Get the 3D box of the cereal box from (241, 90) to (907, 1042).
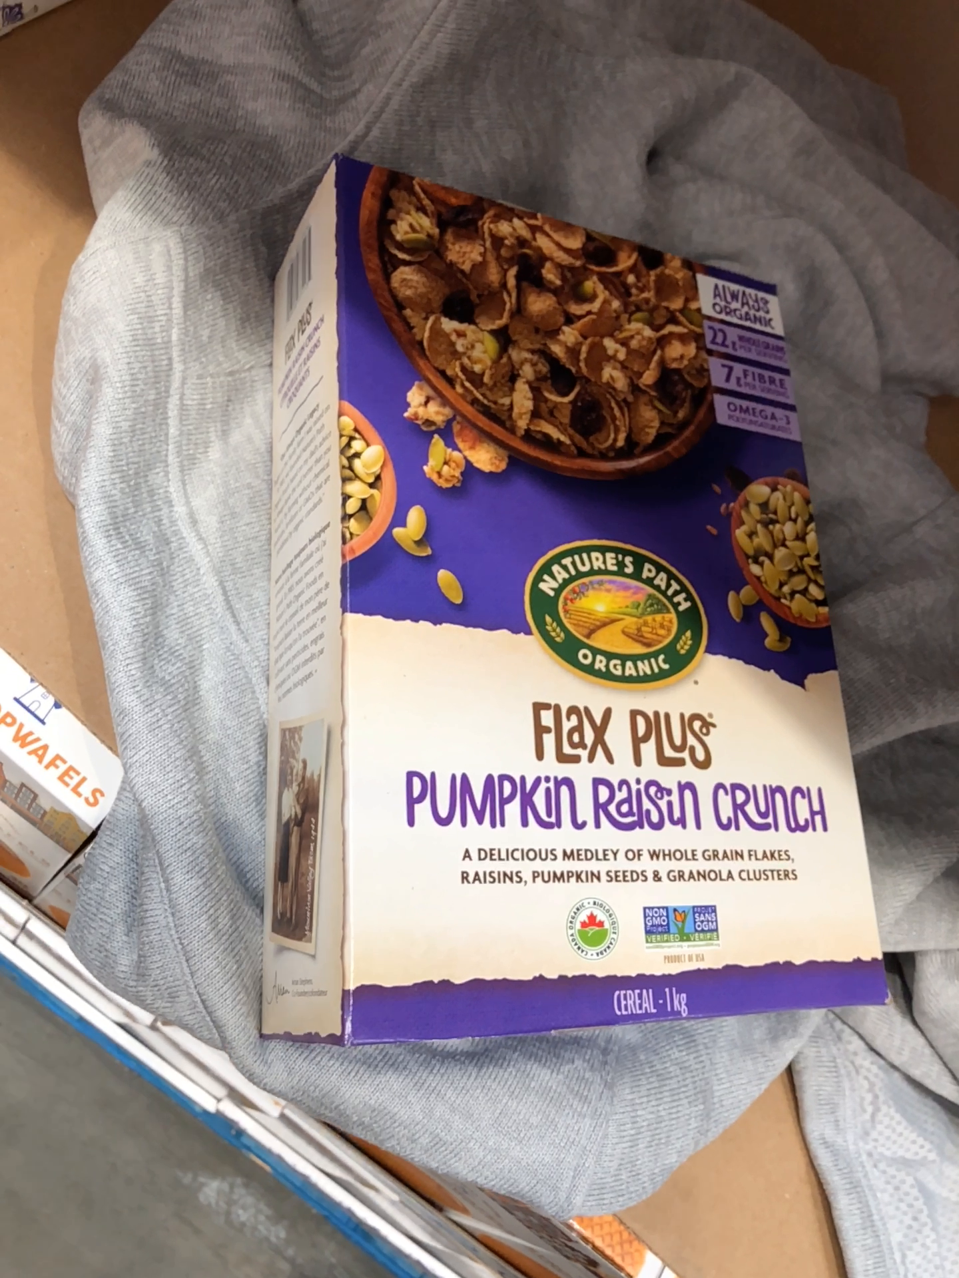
[{"bbox_3d":[0.027,-0.020,0.409,0.211,0.090,0.310,6,70,-26],"label":"cereal box"}]
